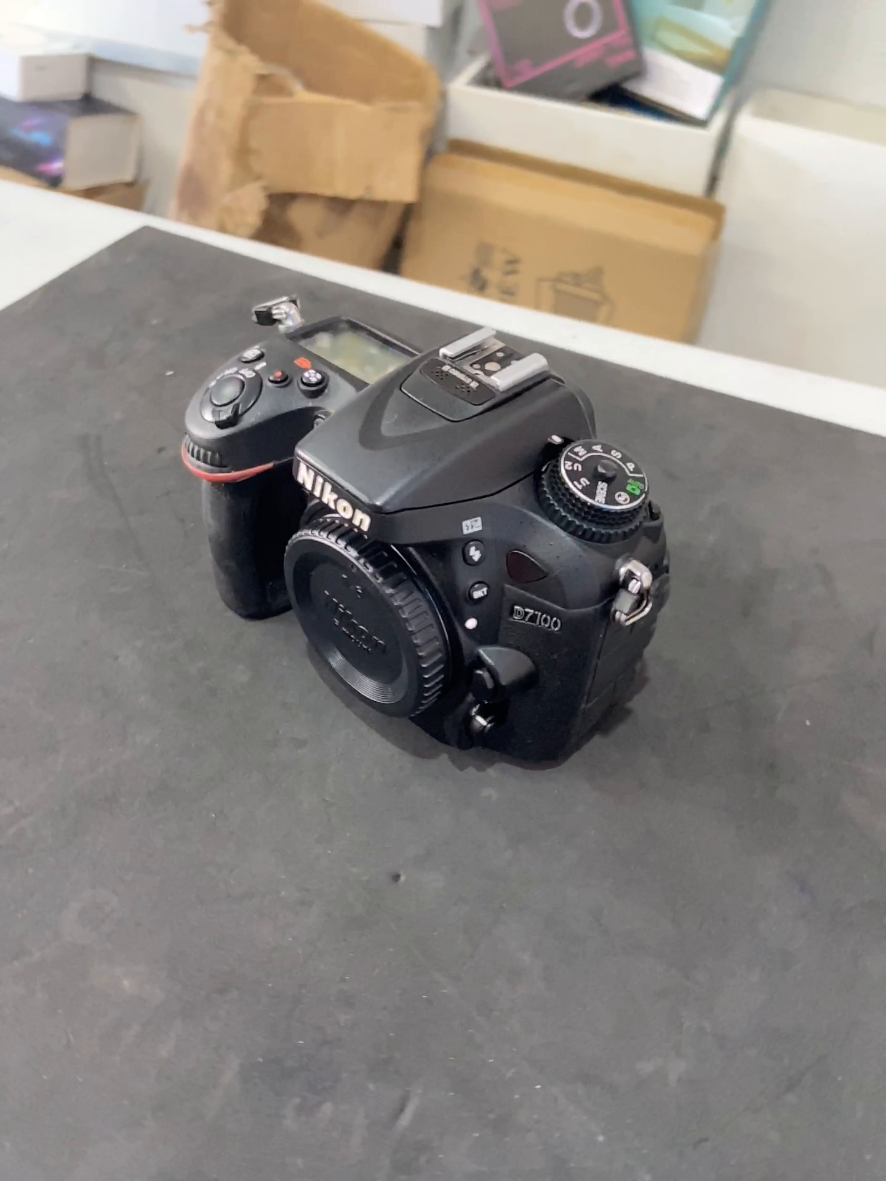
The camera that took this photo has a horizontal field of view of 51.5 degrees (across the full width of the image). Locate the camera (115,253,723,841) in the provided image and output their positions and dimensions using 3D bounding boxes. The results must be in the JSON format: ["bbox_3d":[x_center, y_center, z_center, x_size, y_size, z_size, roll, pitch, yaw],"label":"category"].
[{"bbox_3d":[-0.011,-0.019,0.268,0.140,0.092,0.078,33,52,26],"label":"camera"}]
